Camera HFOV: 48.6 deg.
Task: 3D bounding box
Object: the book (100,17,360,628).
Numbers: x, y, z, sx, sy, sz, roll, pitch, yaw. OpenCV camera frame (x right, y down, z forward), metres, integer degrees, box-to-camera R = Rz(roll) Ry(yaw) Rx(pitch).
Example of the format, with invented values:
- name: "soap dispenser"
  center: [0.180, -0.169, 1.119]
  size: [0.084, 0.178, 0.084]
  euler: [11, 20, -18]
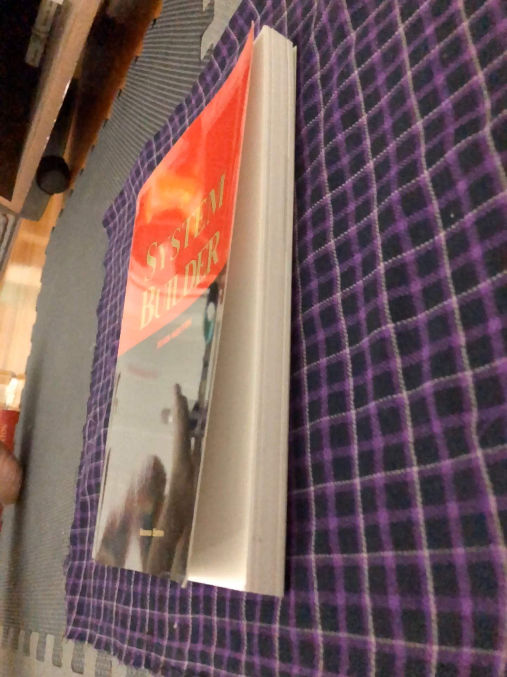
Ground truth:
- name: "book"
  center: [-0.022, -0.001, 0.311]
  size: [0.201, 0.030, 0.260]
  euler: [-27, 54, 54]
